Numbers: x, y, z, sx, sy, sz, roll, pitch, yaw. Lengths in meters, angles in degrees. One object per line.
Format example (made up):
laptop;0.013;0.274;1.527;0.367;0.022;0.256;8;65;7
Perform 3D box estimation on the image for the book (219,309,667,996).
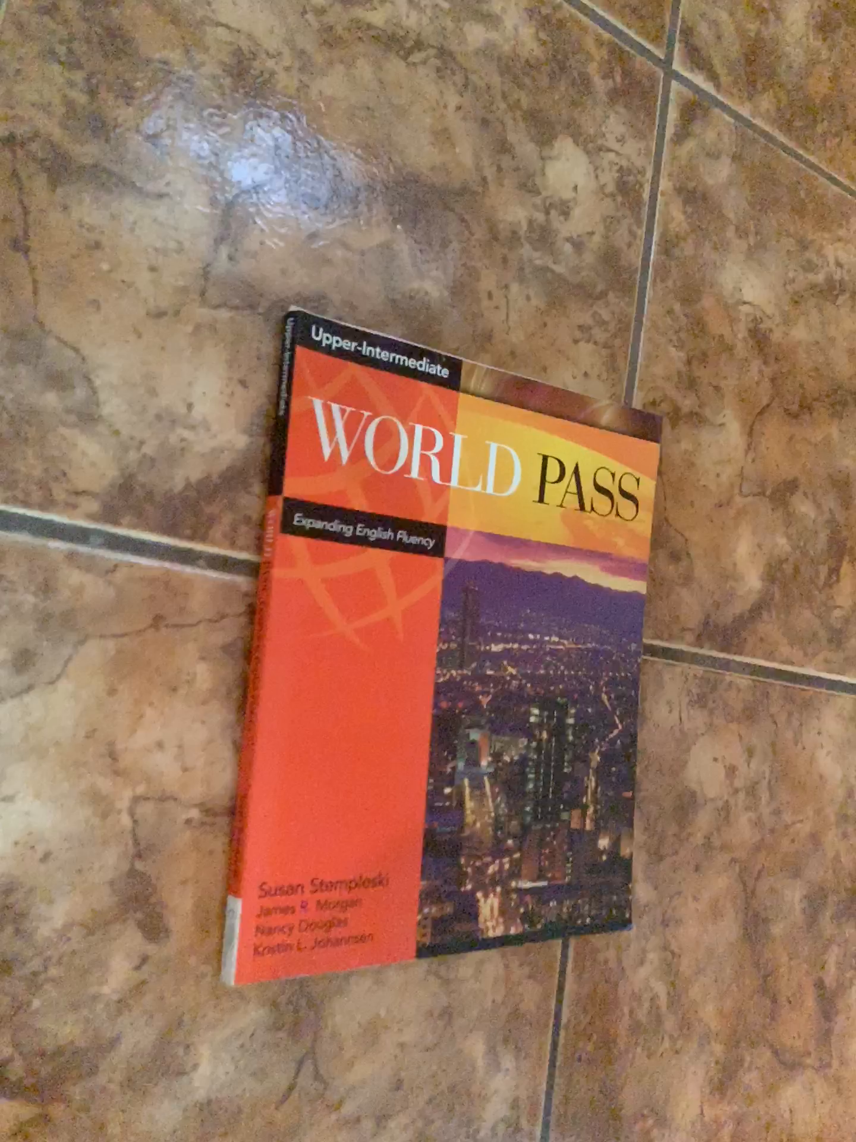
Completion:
book;0.024;0.040;0.409;0.220;0.016;0.271;7;84;-32
